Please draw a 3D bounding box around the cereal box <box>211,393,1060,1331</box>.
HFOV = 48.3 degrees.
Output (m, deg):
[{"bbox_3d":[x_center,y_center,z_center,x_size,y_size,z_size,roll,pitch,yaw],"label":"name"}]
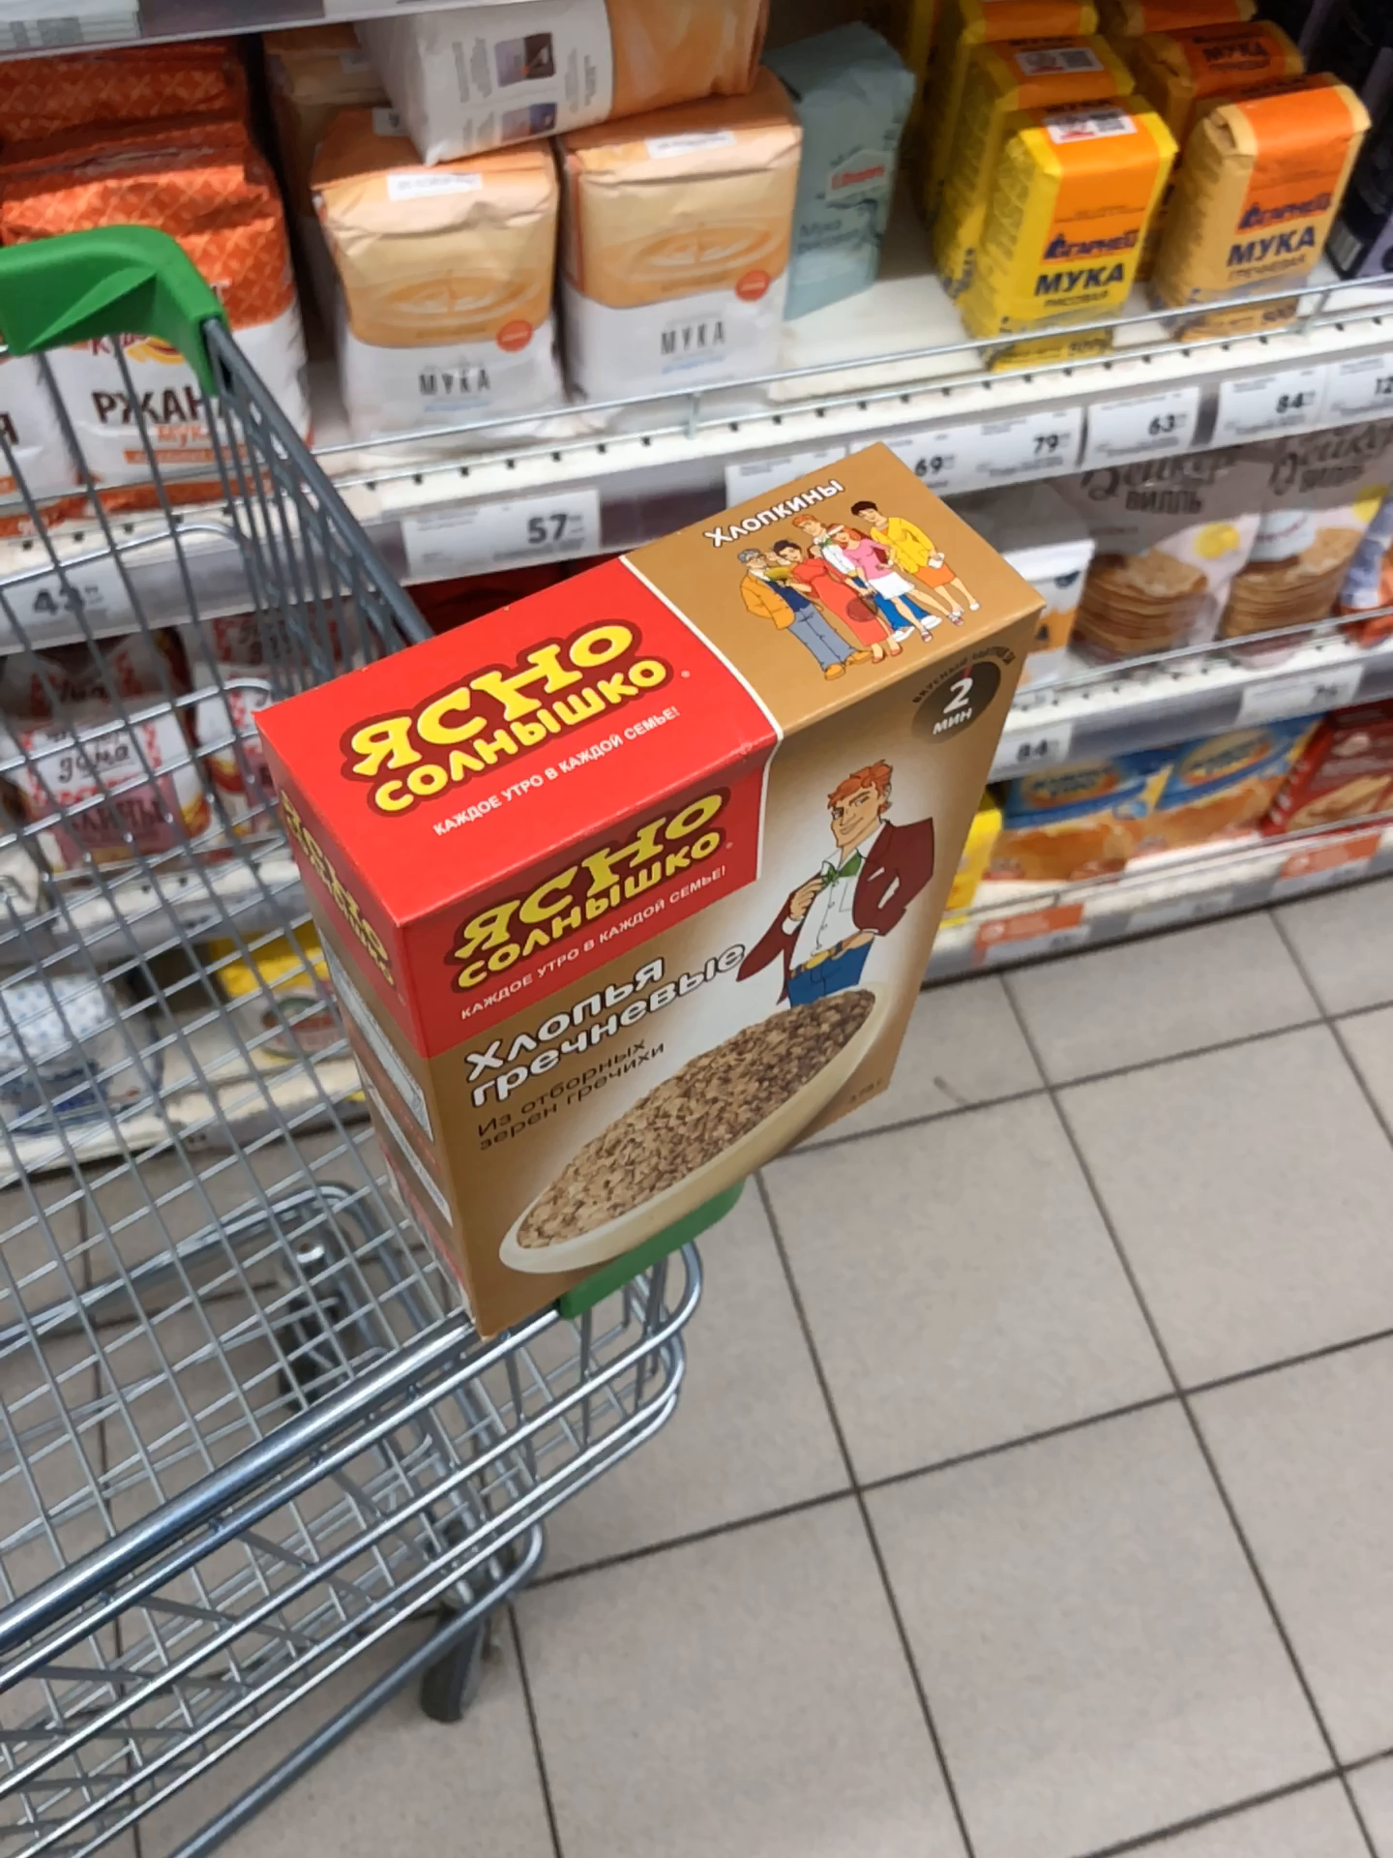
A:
[{"bbox_3d":[-0.012,-0.001,0.340,0.130,0.189,0.060,-28,63,-19],"label":"cereal box"}]
